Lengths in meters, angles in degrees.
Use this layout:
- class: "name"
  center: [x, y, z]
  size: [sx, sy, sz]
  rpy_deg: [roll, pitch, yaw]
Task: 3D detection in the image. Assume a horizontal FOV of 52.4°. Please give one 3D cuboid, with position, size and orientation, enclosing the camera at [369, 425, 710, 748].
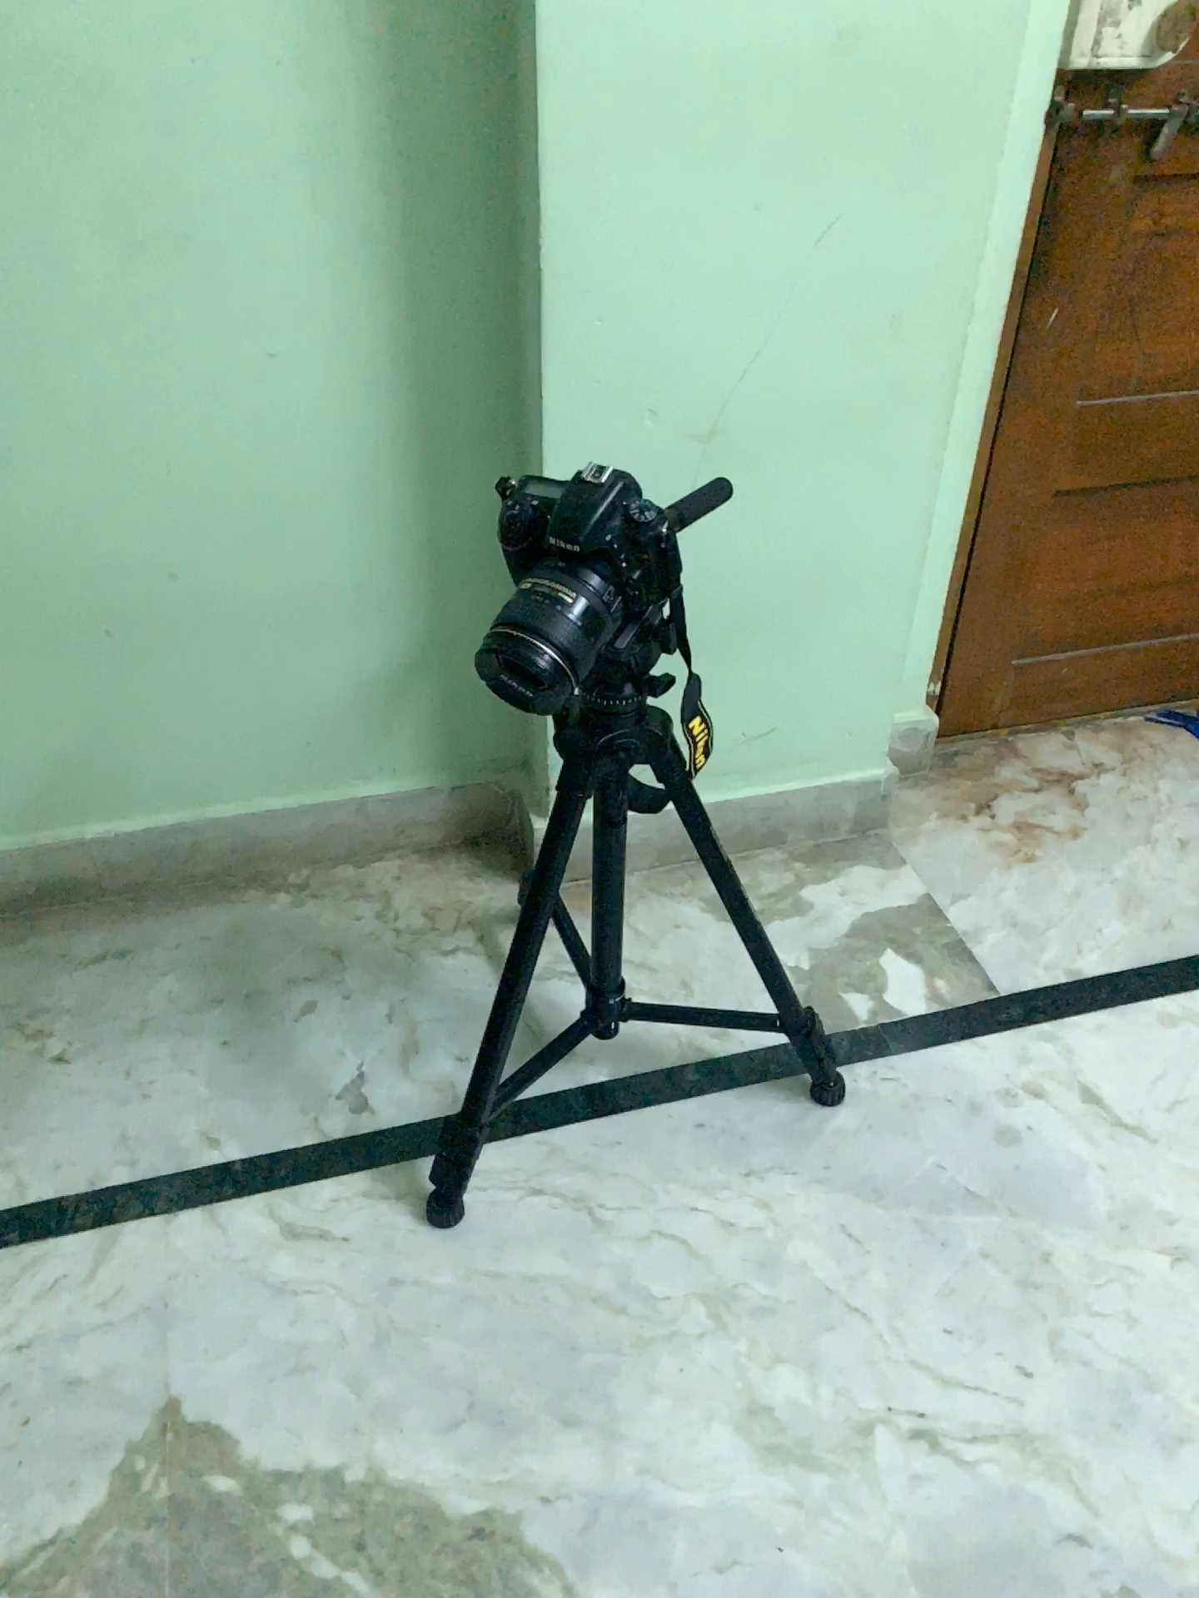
- class: "camera"
  center: [-0.039, -0.165, 0.926]
  size: [0.170, 0.110, 0.180]
  rpy_deg: [21, 65, 25]
